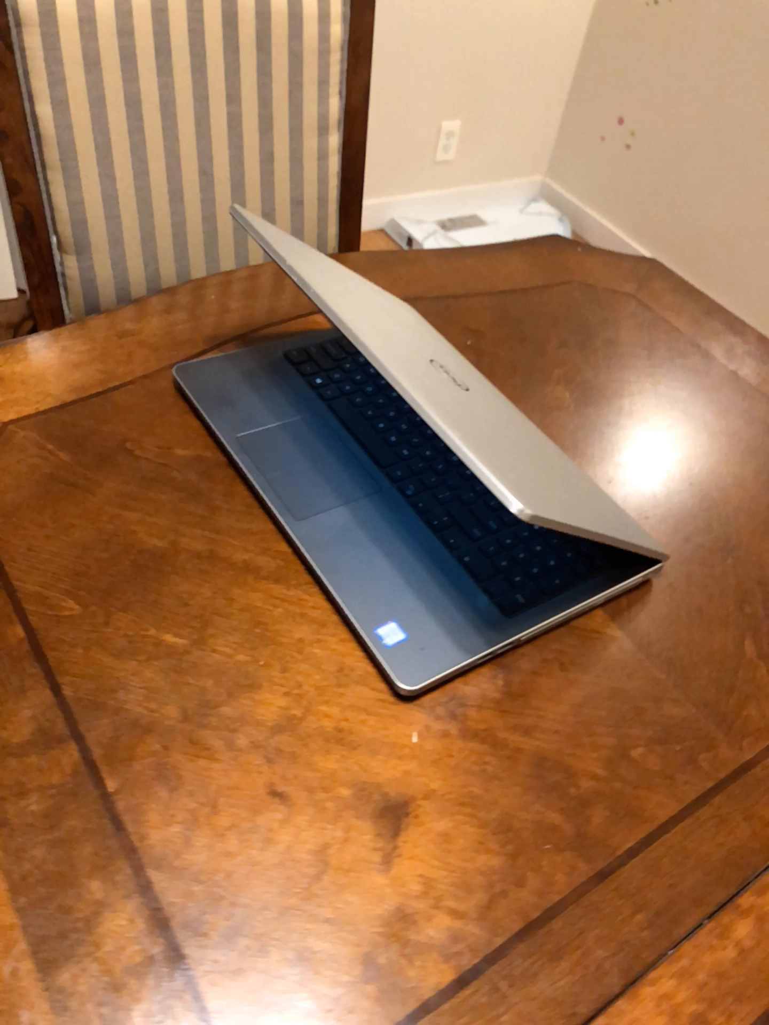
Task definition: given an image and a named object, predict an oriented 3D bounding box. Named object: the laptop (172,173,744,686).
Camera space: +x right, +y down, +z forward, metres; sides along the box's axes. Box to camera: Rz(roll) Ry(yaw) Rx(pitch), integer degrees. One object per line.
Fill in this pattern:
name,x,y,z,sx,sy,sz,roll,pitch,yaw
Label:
laptop,0.028,-0.095,0.650,0.245,0.147,0.365,-20,53,-28
